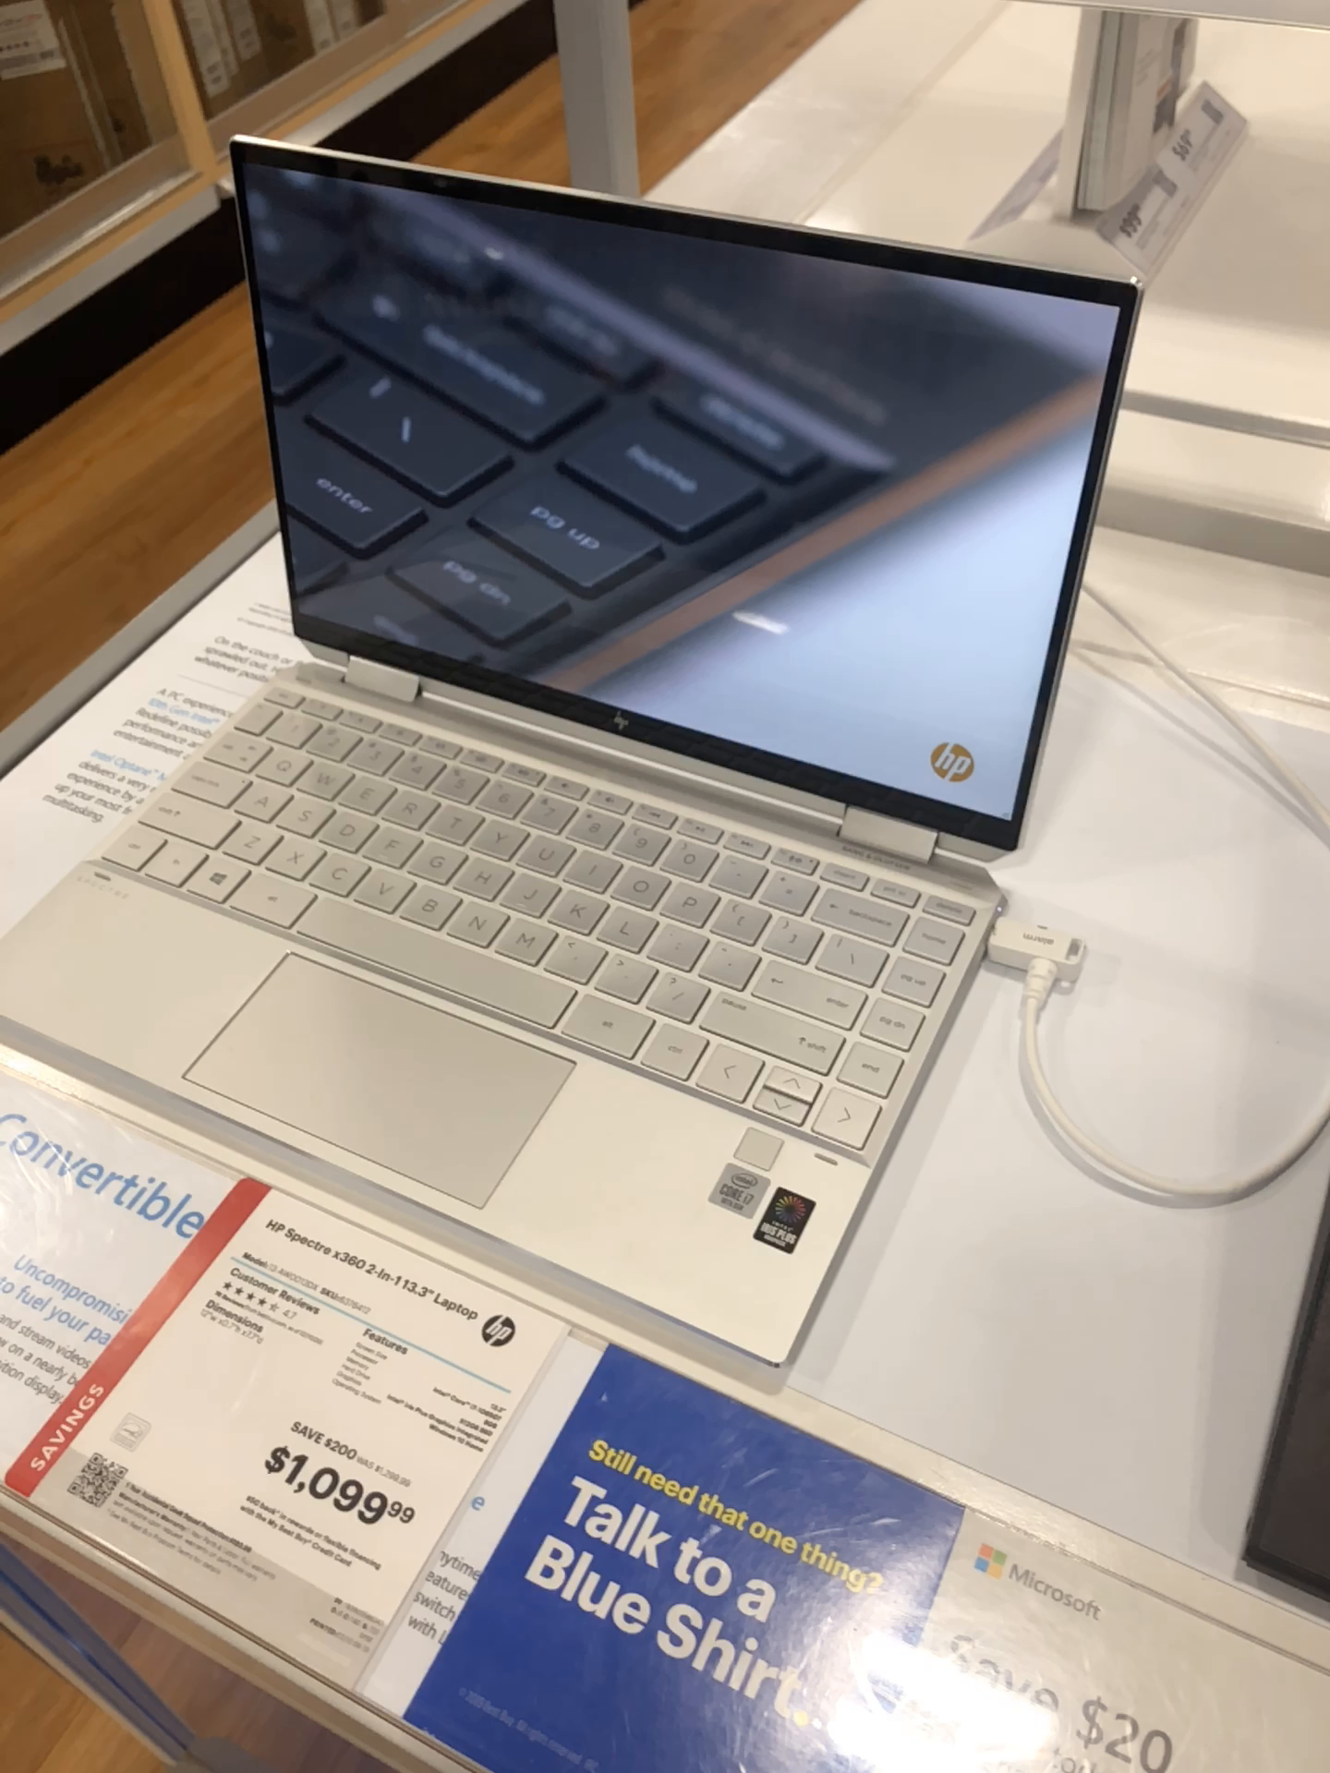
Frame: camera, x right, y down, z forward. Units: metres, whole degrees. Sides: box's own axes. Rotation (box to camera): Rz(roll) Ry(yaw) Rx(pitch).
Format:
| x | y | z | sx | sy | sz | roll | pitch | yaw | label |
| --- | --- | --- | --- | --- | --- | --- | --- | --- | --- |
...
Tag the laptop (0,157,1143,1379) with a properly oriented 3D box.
| x | y | z | sx | sy | sz | roll | pitch | yaw | label |
| --- | --- | --- | --- | --- | --- | --- | --- | --- | --- |
| -0.056 | -0.058 | 0.433 | 0.303 | 0.184 | 0.228 | 19 | 51 | 21 | laptop |
